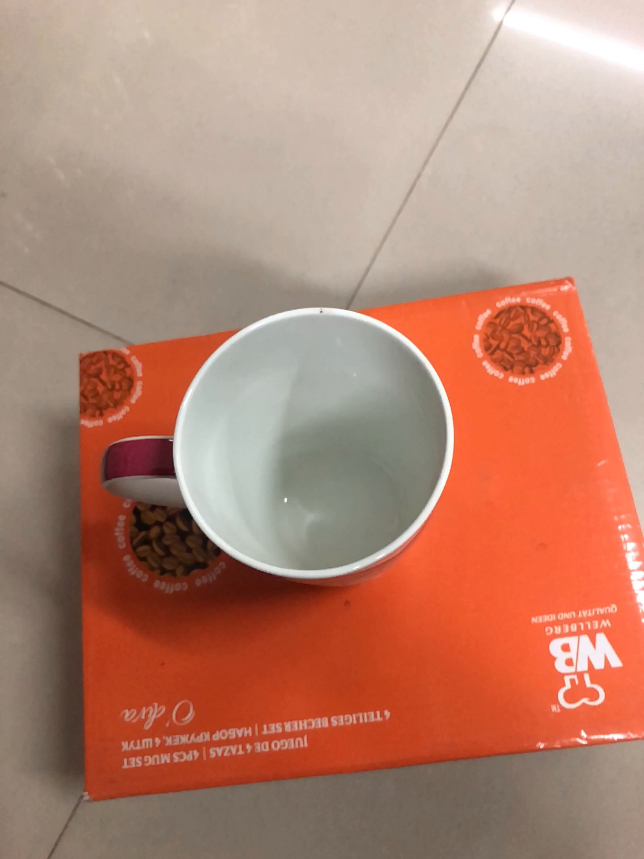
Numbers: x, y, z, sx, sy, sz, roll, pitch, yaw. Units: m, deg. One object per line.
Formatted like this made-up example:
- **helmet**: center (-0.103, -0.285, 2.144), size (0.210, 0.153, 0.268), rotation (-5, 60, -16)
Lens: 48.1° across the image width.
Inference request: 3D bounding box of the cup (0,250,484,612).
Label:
- **cup**: center (-0.020, 0.012, 0.247), size (0.130, 0.110, 0.090), rotation (-3, 73, 6)
